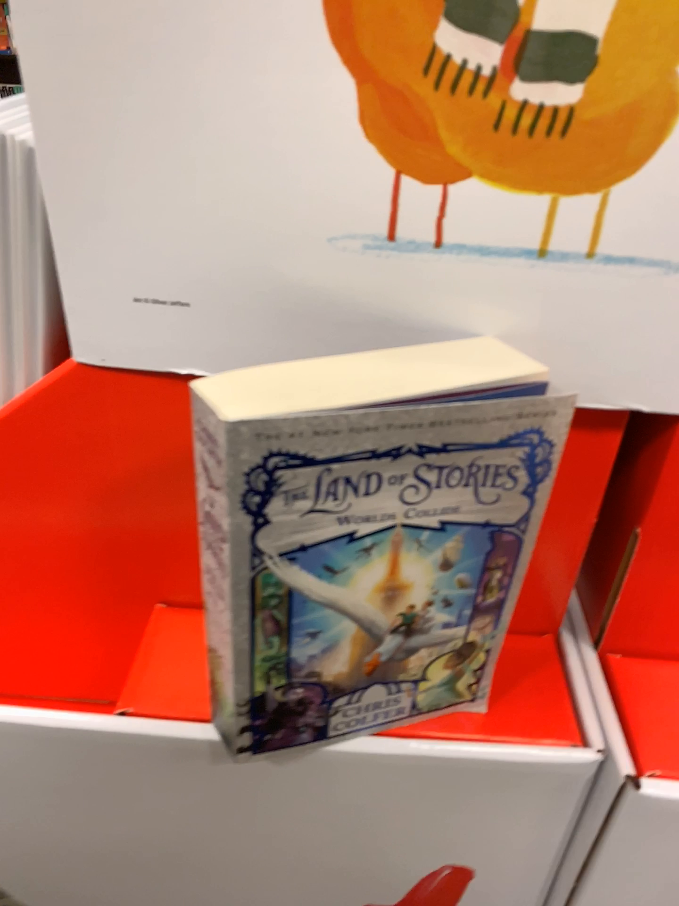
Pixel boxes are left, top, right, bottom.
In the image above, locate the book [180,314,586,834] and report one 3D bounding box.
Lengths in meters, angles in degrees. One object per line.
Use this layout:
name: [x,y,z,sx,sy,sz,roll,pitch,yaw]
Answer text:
book: [0.013,0.052,0.298,0.130,0.193,0.065,-14,36,-24]
